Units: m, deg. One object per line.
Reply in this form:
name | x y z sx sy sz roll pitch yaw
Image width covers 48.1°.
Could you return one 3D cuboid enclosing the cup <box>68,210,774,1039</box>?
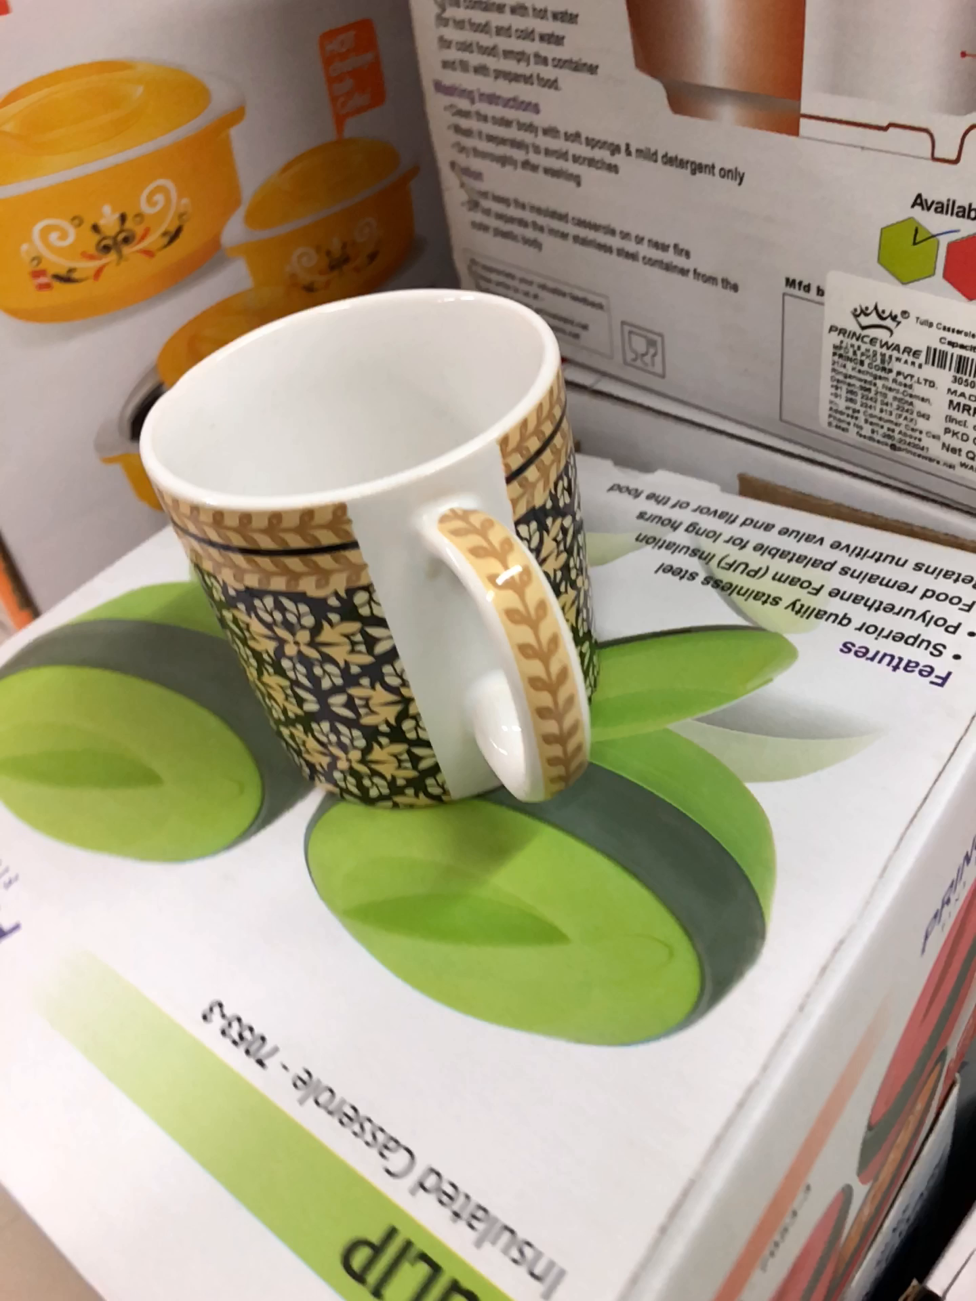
cup | -0.013 -0.013 0.200 0.070 0.089 0.110 -27 41 -17
